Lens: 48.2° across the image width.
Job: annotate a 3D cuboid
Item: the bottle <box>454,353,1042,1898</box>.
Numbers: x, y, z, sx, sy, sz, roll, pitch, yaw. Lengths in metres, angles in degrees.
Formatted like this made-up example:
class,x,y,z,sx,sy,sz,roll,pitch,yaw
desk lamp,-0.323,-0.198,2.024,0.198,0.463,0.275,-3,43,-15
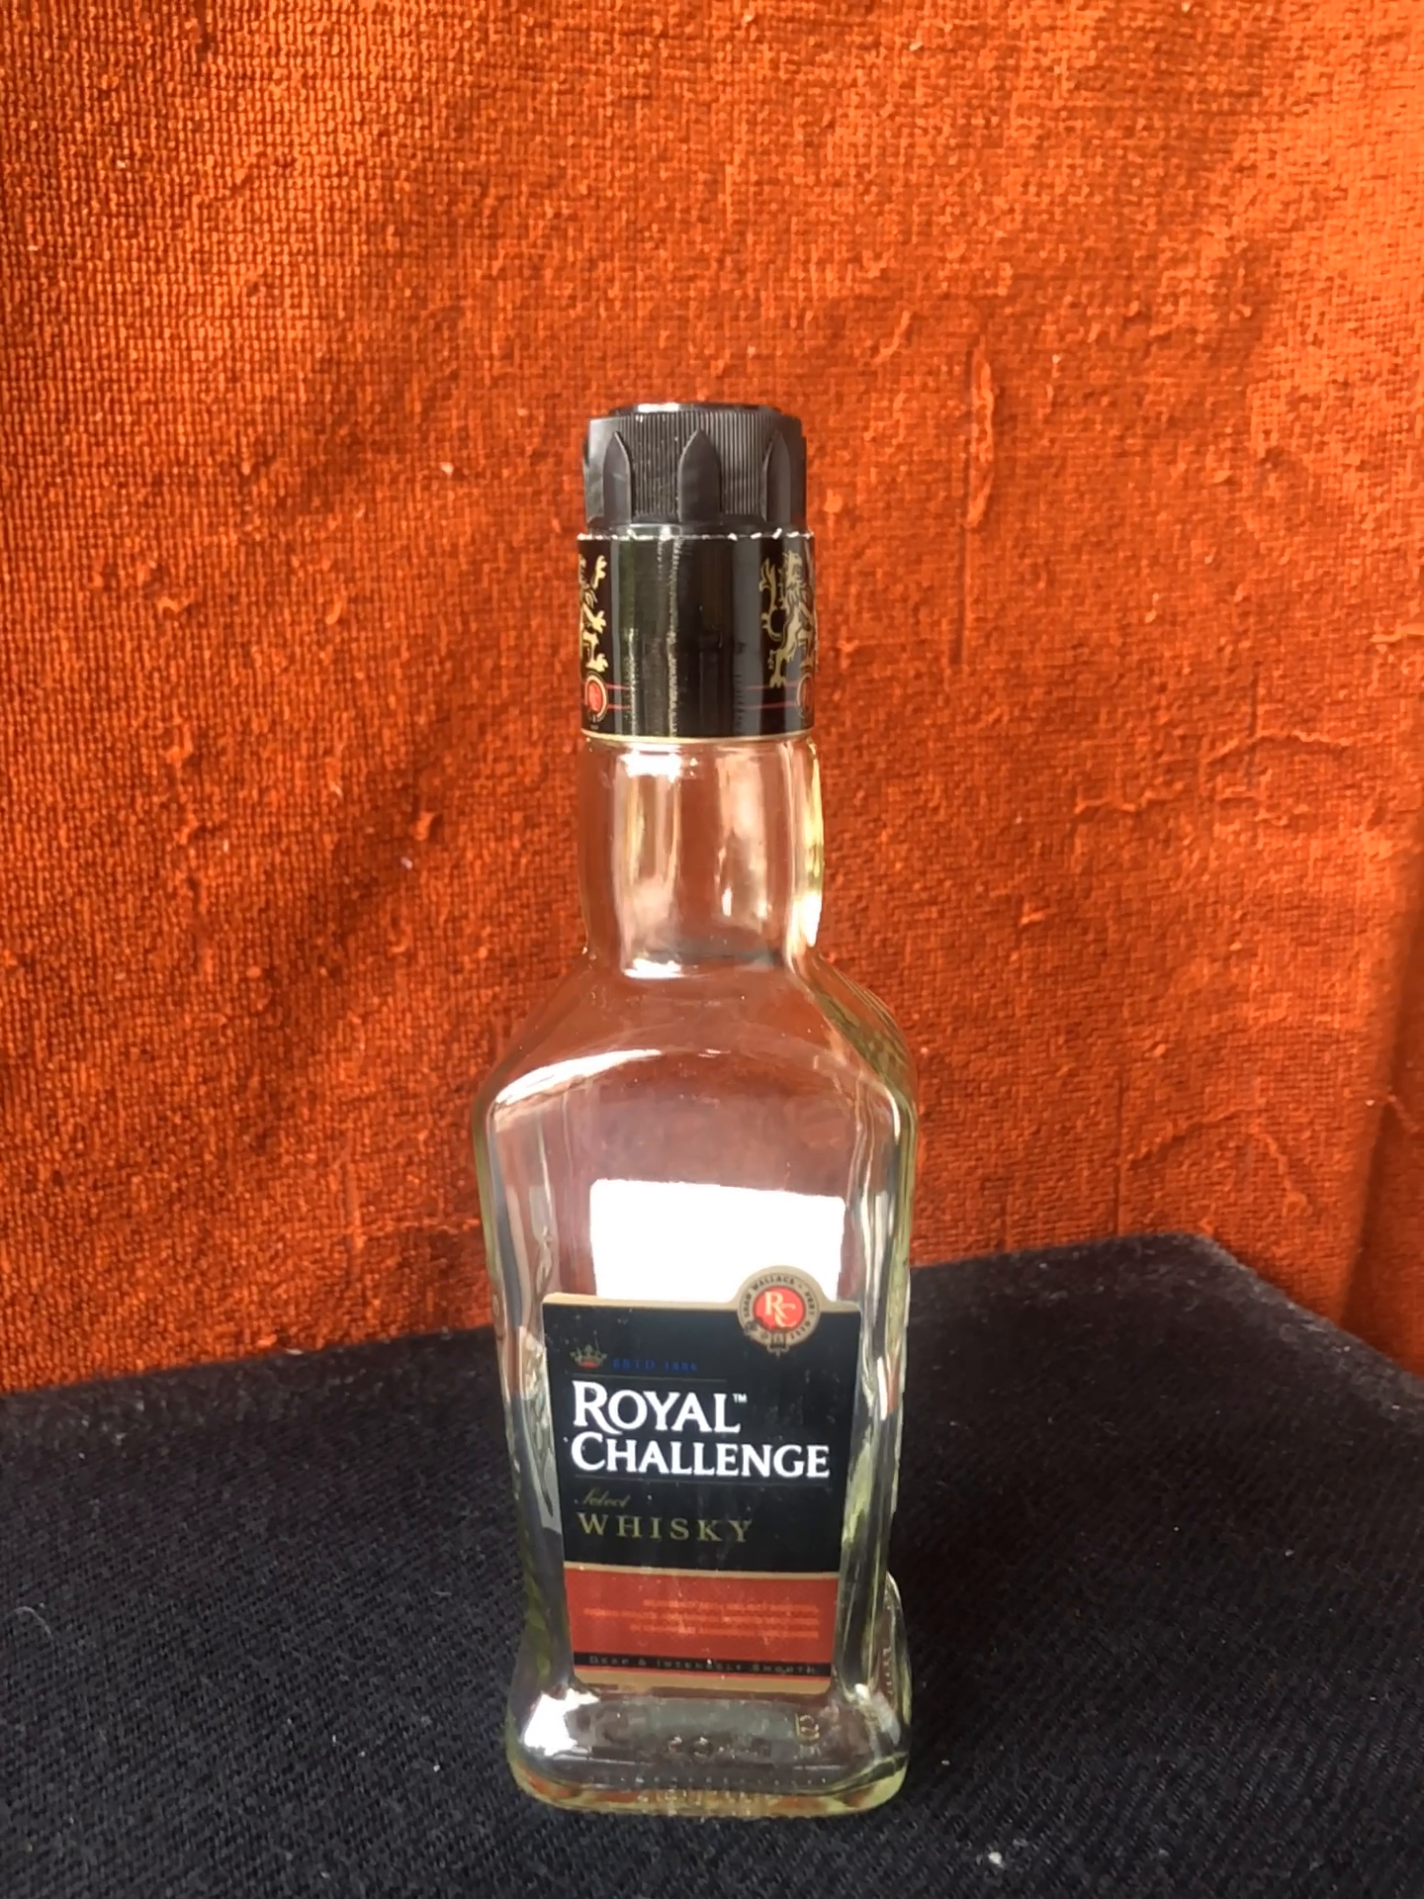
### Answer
class,x,y,z,sx,sy,sz,roll,pitch,yaw
bottle,0.002,0.026,0.209,0.060,0.189,0.050,2,14,2
